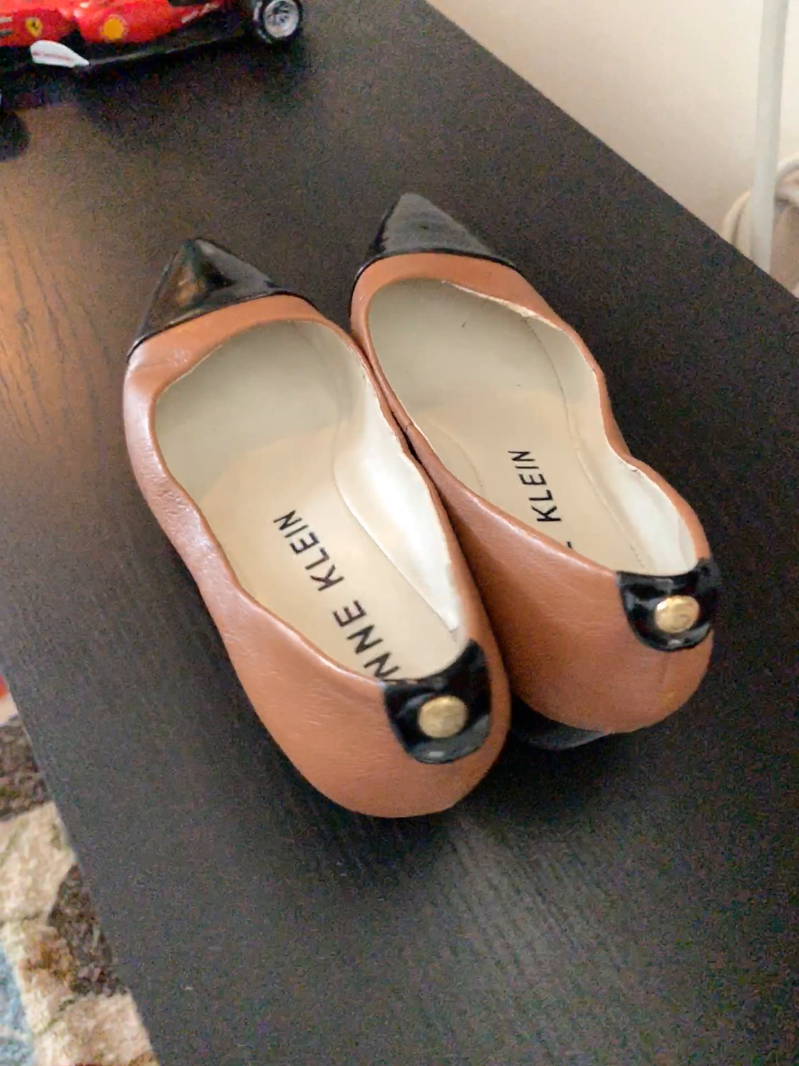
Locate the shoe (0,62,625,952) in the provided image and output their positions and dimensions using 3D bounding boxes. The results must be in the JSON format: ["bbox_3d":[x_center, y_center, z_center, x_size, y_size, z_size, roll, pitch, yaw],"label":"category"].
[{"bbox_3d":[-0.048,-0.028,0.264,0.092,0.099,0.262,-16,59,-15],"label":"shoe"}]

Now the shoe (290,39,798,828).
[{"bbox_3d":[0.028,-0.054,0.273,0.092,0.079,0.262,-7,57,-10],"label":"shoe"}]
